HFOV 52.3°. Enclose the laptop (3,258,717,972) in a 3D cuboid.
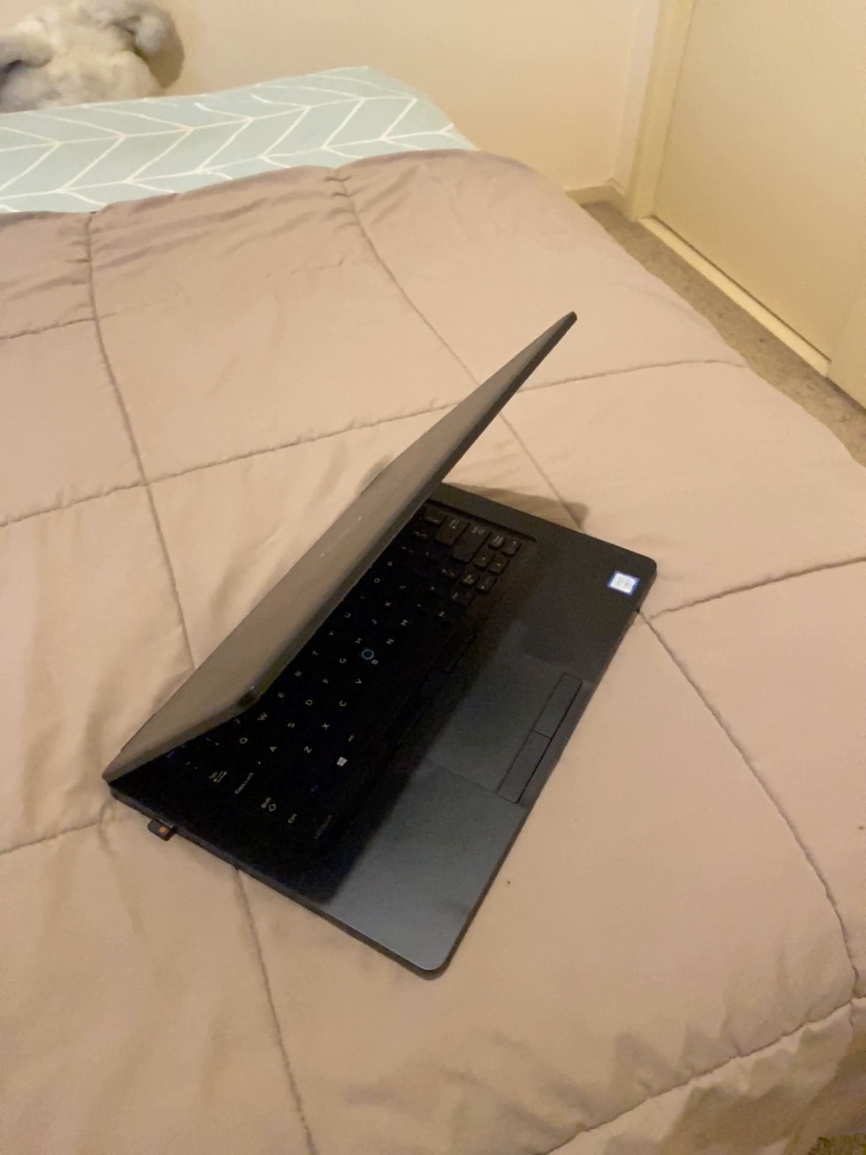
[{"bbox_3d":[-0.015,-0.007,0.526,0.226,0.183,0.335,22,51,20],"label":"laptop"}]
